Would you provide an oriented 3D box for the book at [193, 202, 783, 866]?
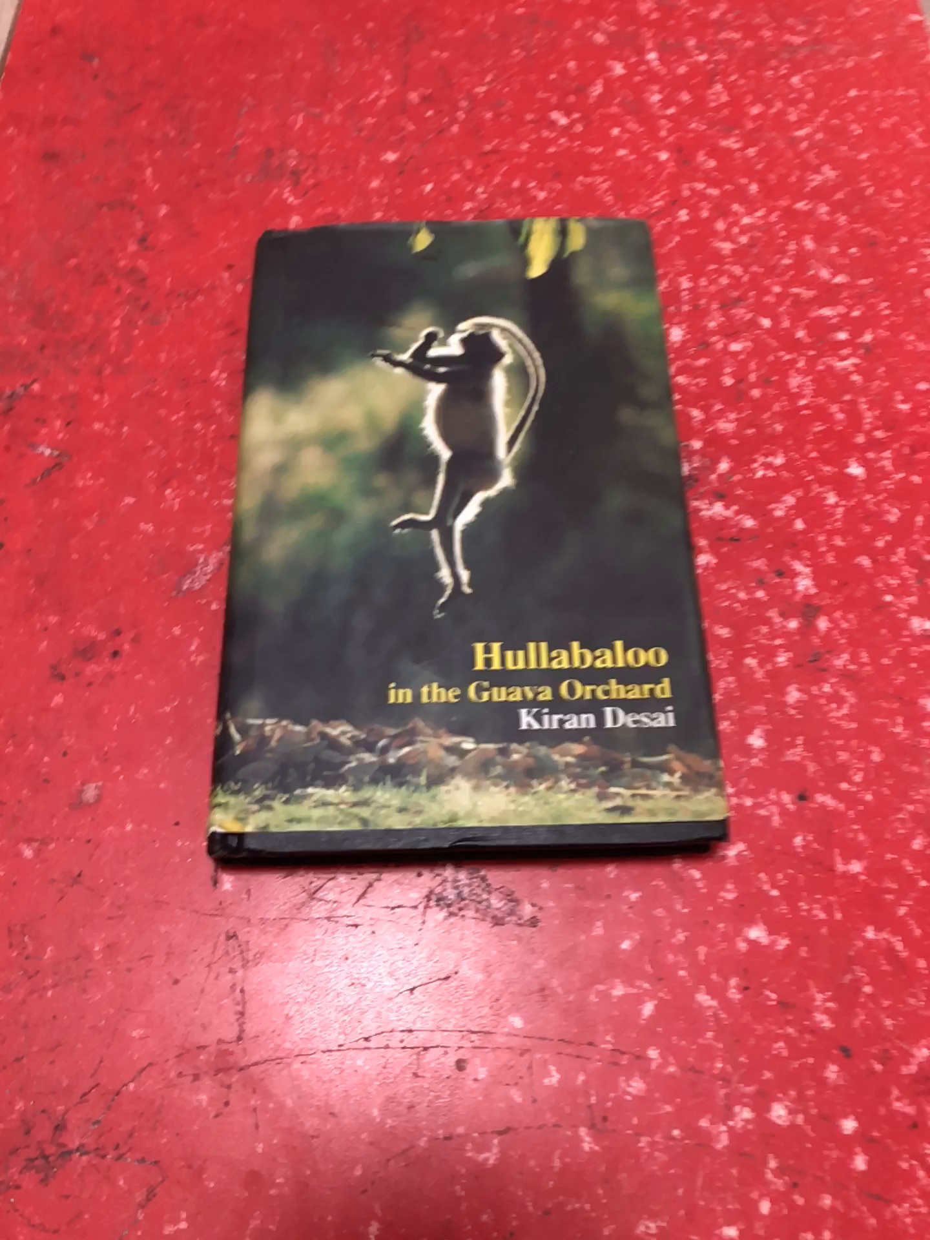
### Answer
[{"bbox_3d":[0.003,-0.040,0.343,0.160,0.030,0.230,-2,65,-1],"label":"book"}]
